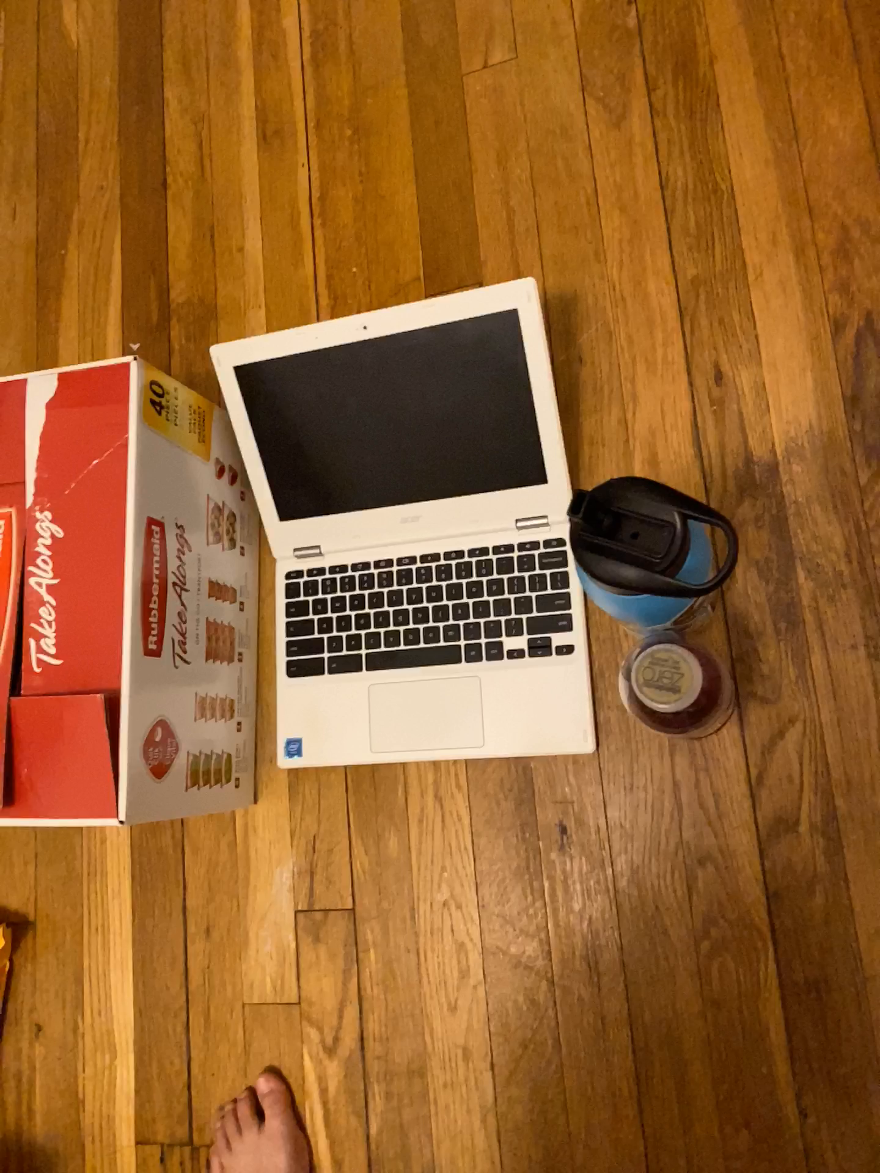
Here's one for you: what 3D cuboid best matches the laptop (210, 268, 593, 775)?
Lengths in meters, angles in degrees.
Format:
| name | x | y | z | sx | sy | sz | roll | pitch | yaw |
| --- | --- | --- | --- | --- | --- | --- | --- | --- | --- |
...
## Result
| name | x | y | z | sx | sy | sz | roll | pitch | yaw |
| --- | --- | --- | --- | --- | --- | --- | --- | --- | --- |
| laptop | -0.038 | -0.037 | 0.748 | 0.289 | 0.109 | 0.365 | -6 | 79 | 20 |
